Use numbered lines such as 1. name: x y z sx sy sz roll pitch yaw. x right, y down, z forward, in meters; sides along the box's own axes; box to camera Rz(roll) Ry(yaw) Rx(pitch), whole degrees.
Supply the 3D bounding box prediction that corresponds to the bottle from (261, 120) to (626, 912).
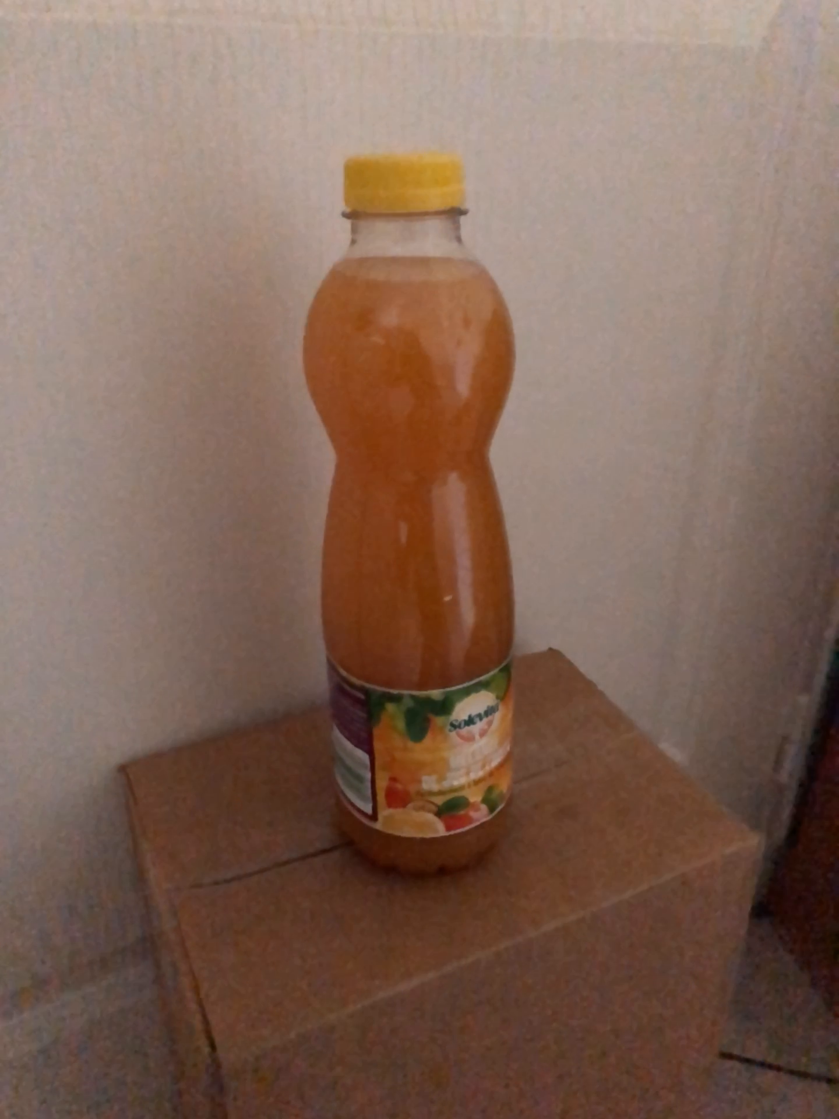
1. bottle: 0.004 -0.010 0.352 0.080 0.278 0.080 1 28 -1
